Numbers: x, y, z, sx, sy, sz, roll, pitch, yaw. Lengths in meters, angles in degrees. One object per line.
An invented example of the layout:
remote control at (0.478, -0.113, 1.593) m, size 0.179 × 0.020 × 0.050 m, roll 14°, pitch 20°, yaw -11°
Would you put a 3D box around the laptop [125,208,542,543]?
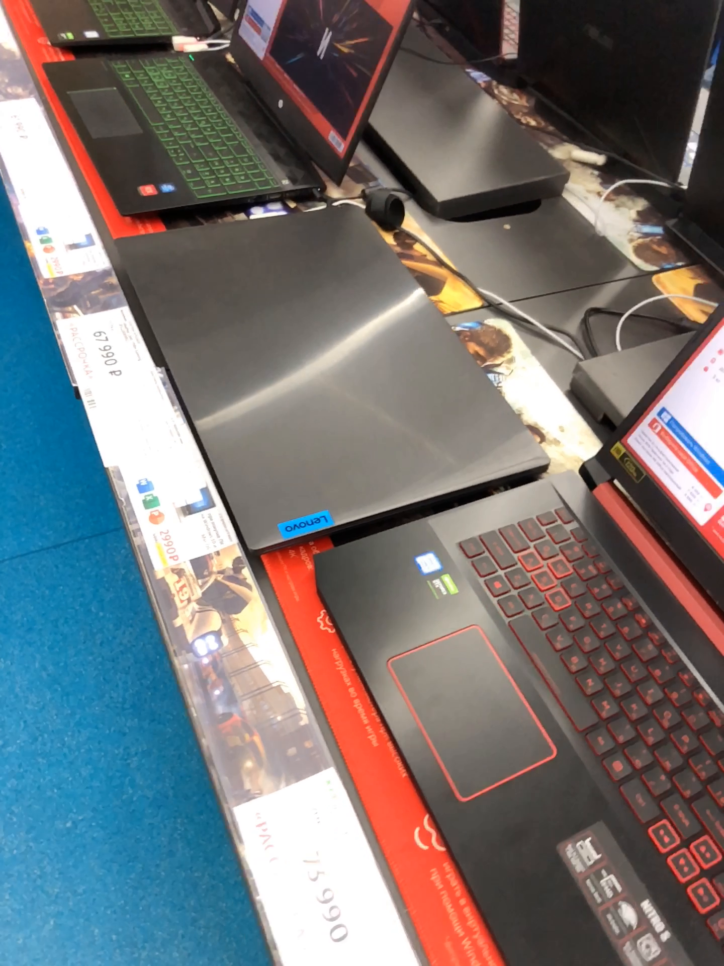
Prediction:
laptop at (-0.042, -0.134, 0.752) m, size 0.268 × 0.002 × 0.390 m, roll -15°, pitch 55°, yaw -21°
